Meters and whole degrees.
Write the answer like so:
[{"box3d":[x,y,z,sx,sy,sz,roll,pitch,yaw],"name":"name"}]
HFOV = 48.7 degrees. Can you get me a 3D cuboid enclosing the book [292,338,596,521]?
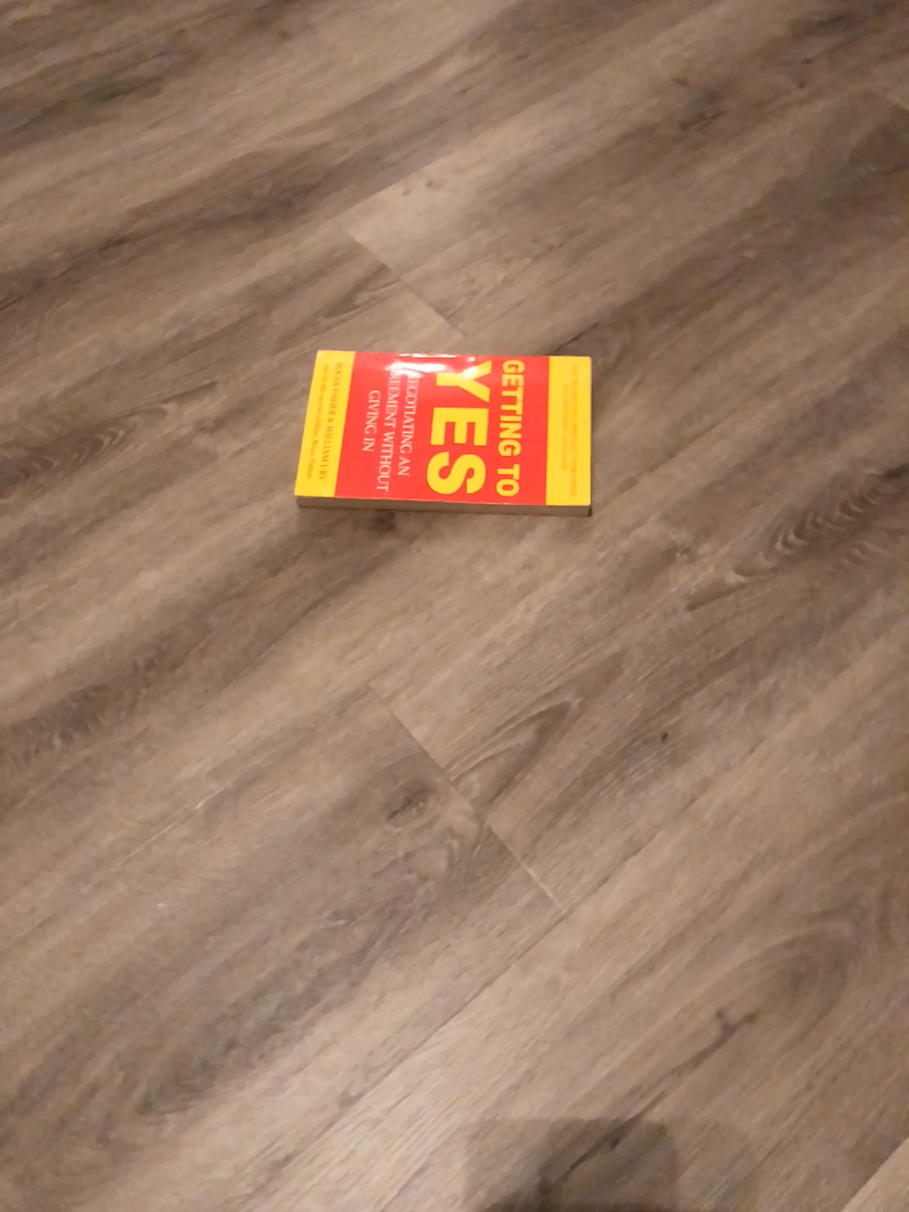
[{"box3d":[-0.003,-0.120,0.669,0.190,0.026,0.130,2,59,4],"name":"book"}]
